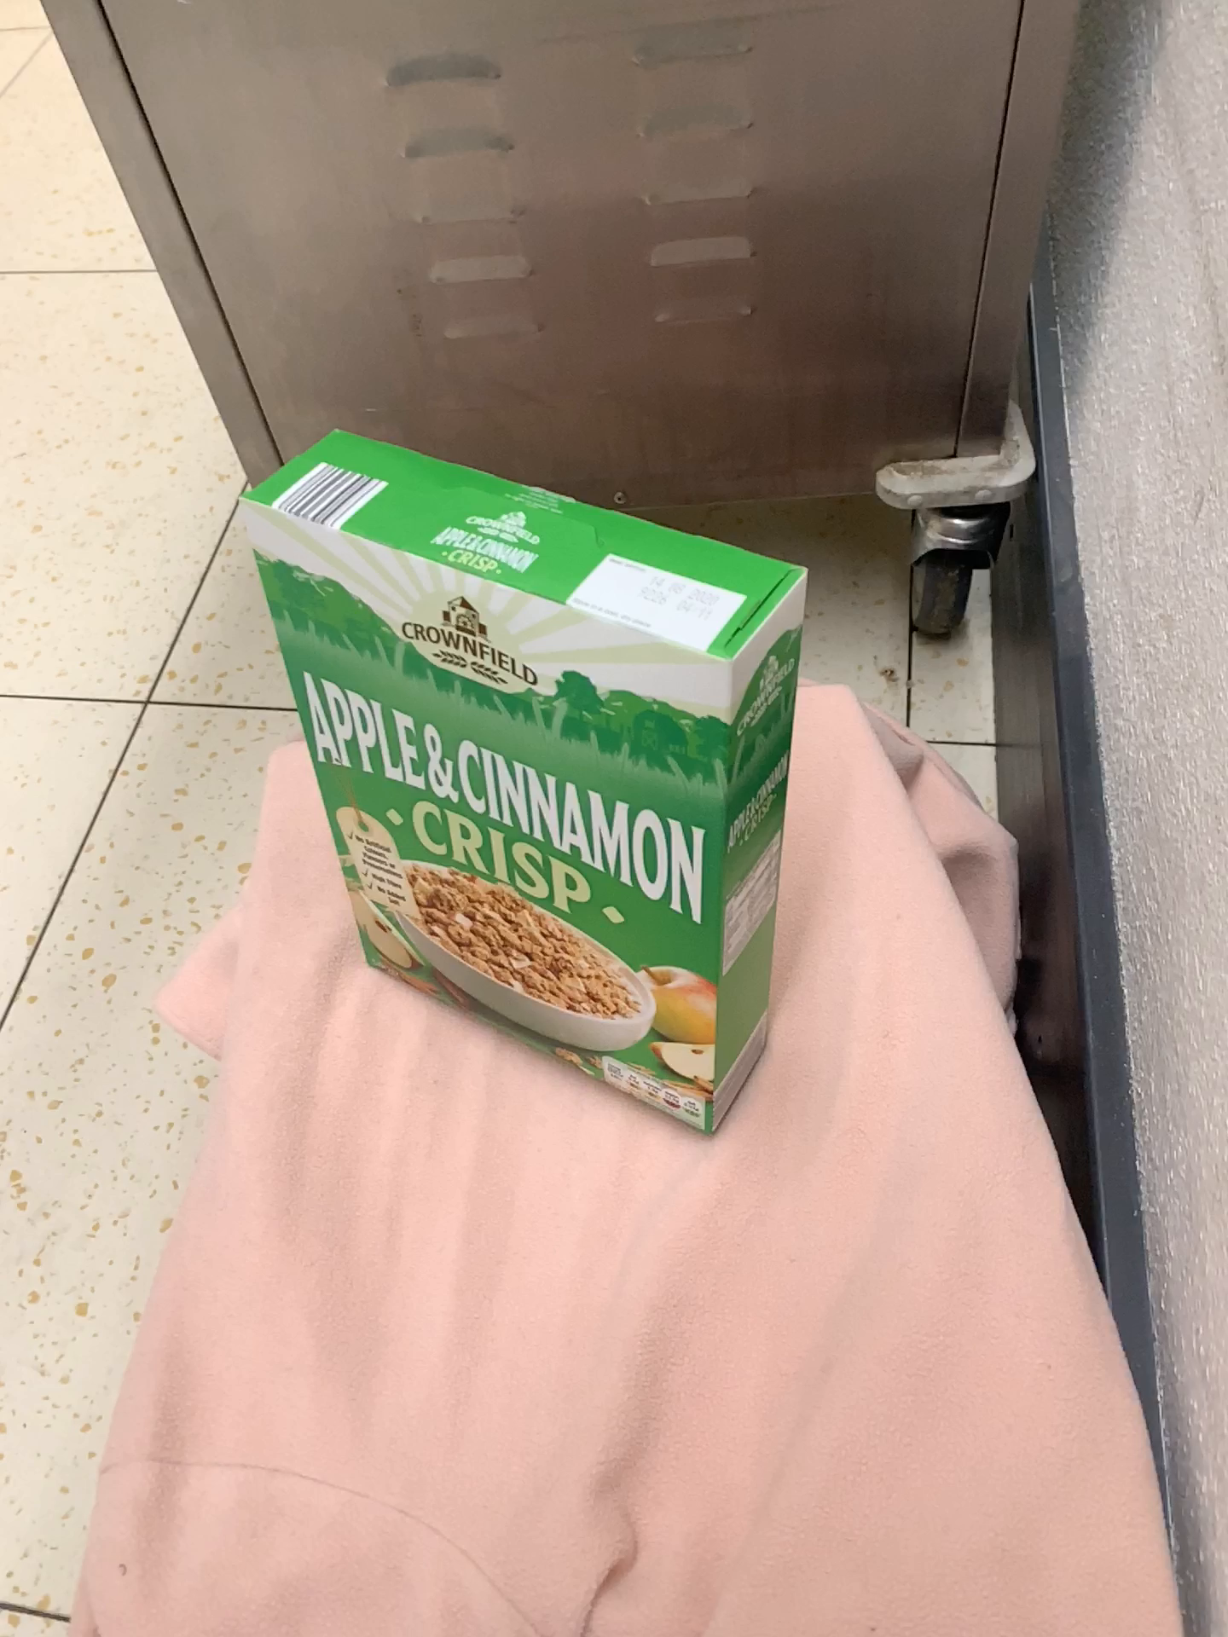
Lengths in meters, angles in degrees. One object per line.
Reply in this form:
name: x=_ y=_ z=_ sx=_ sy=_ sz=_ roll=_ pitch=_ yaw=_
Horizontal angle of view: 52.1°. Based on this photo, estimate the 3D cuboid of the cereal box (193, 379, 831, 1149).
cereal box: x=-0.030 y=-0.008 z=0.468 sx=0.190 sy=0.258 sz=0.060 roll=23 pitch=52 yaw=23
